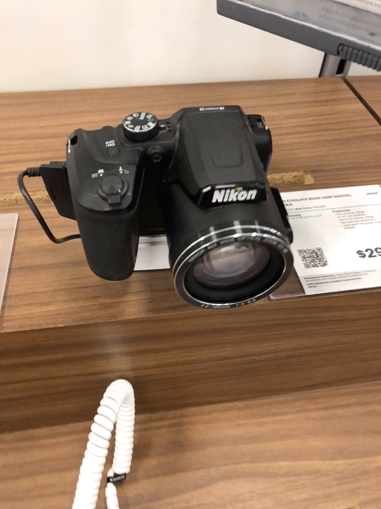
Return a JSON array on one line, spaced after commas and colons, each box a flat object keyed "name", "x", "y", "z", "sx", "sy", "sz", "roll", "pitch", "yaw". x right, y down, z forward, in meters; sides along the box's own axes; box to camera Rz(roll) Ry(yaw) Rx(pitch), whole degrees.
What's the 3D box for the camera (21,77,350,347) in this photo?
[{"name": "camera", "x": -0.011, "y": -0.033, "z": 0.235, "sx": 0.130, "sy": 0.070, "sz": 0.130, "roll": -6, "pitch": 47, "yaw": -8}]
